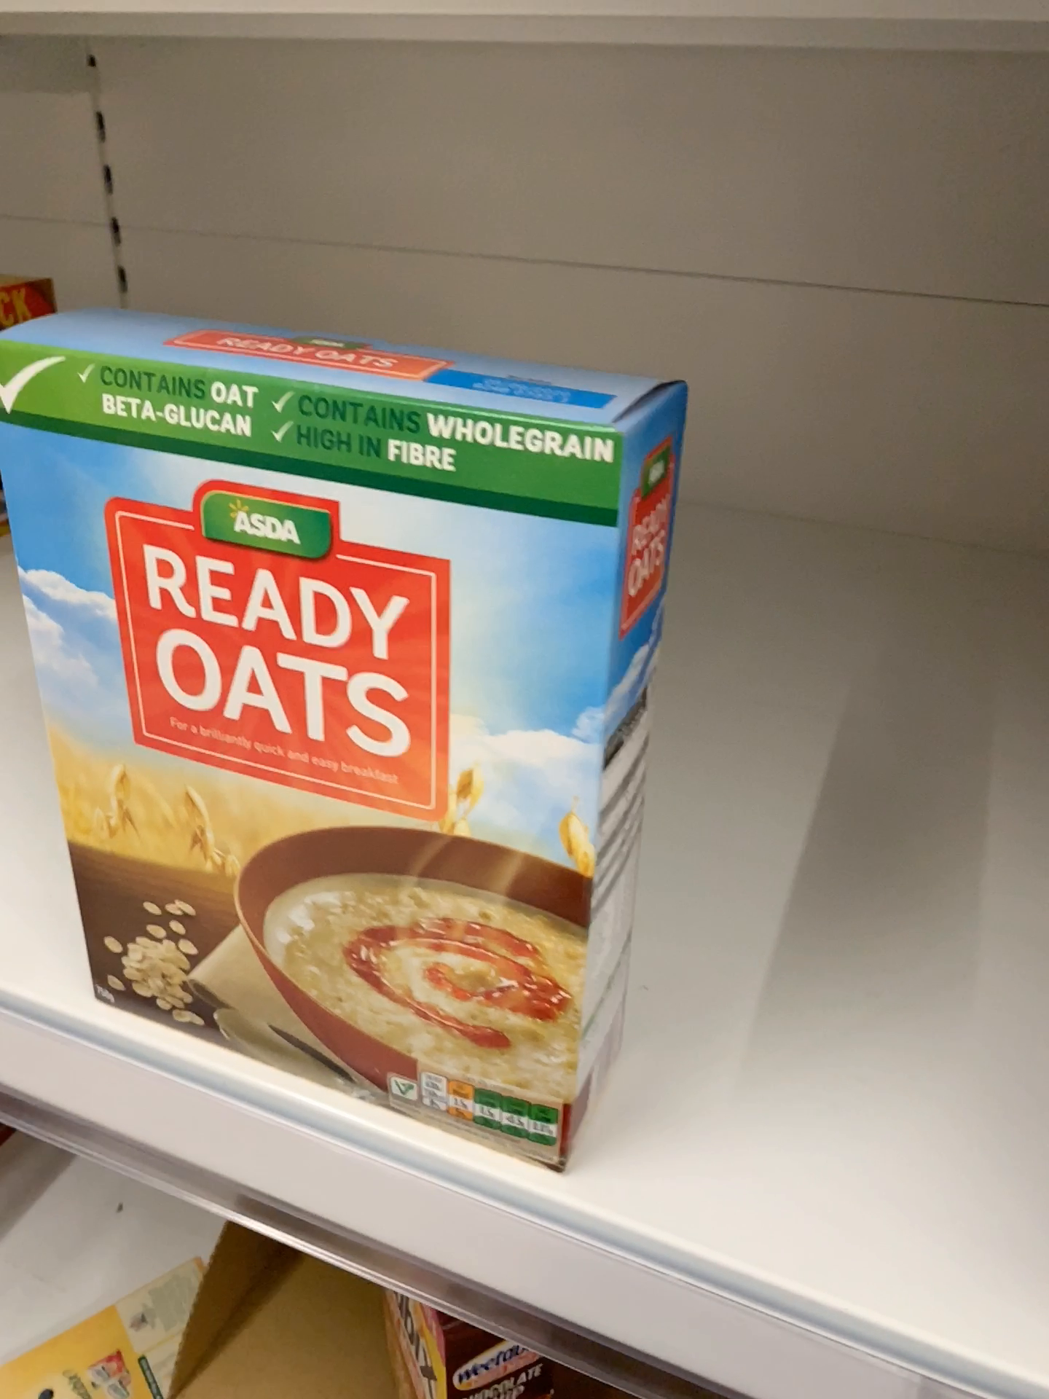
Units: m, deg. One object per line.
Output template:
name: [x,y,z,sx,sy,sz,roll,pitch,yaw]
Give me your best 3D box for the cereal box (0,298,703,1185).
cereal box: [-0.064,0.013,0.370,0.210,0.258,0.071,13,30,19]
